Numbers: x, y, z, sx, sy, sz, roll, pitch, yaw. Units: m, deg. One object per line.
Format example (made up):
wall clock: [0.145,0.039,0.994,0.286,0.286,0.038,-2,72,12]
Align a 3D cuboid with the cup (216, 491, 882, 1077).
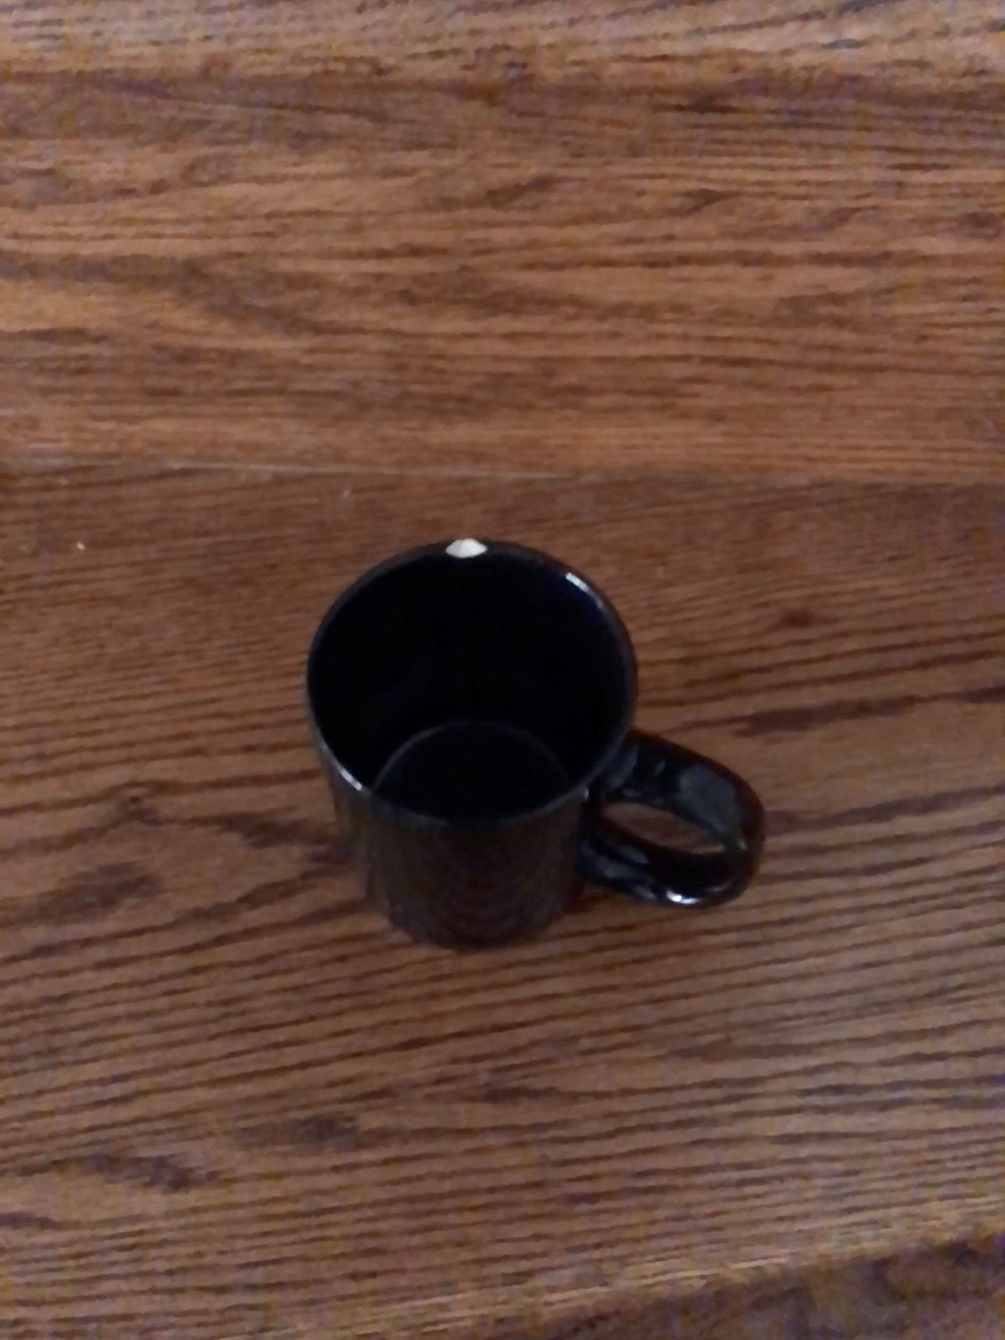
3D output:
cup: [0.014,0.033,0.307,0.135,0.095,0.091,17,61,9]
